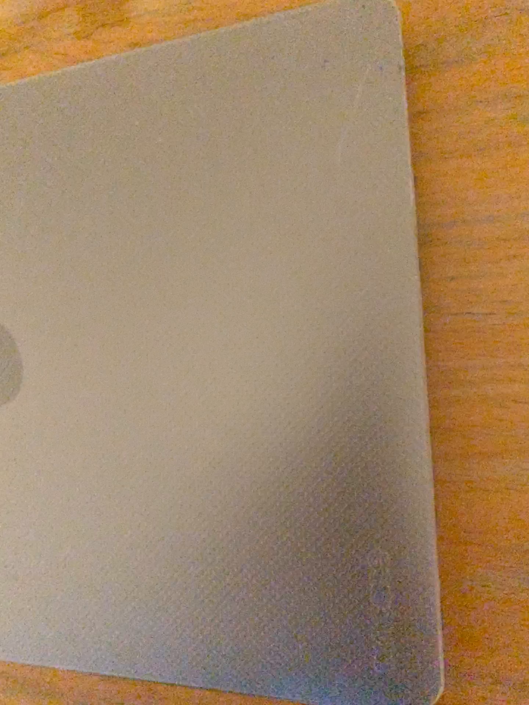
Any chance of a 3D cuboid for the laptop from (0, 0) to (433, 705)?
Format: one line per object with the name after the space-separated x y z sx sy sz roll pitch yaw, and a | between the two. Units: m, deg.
-0.096 0.005 0.212 0.292 0.005 0.210 -3 87 20 | laptop
